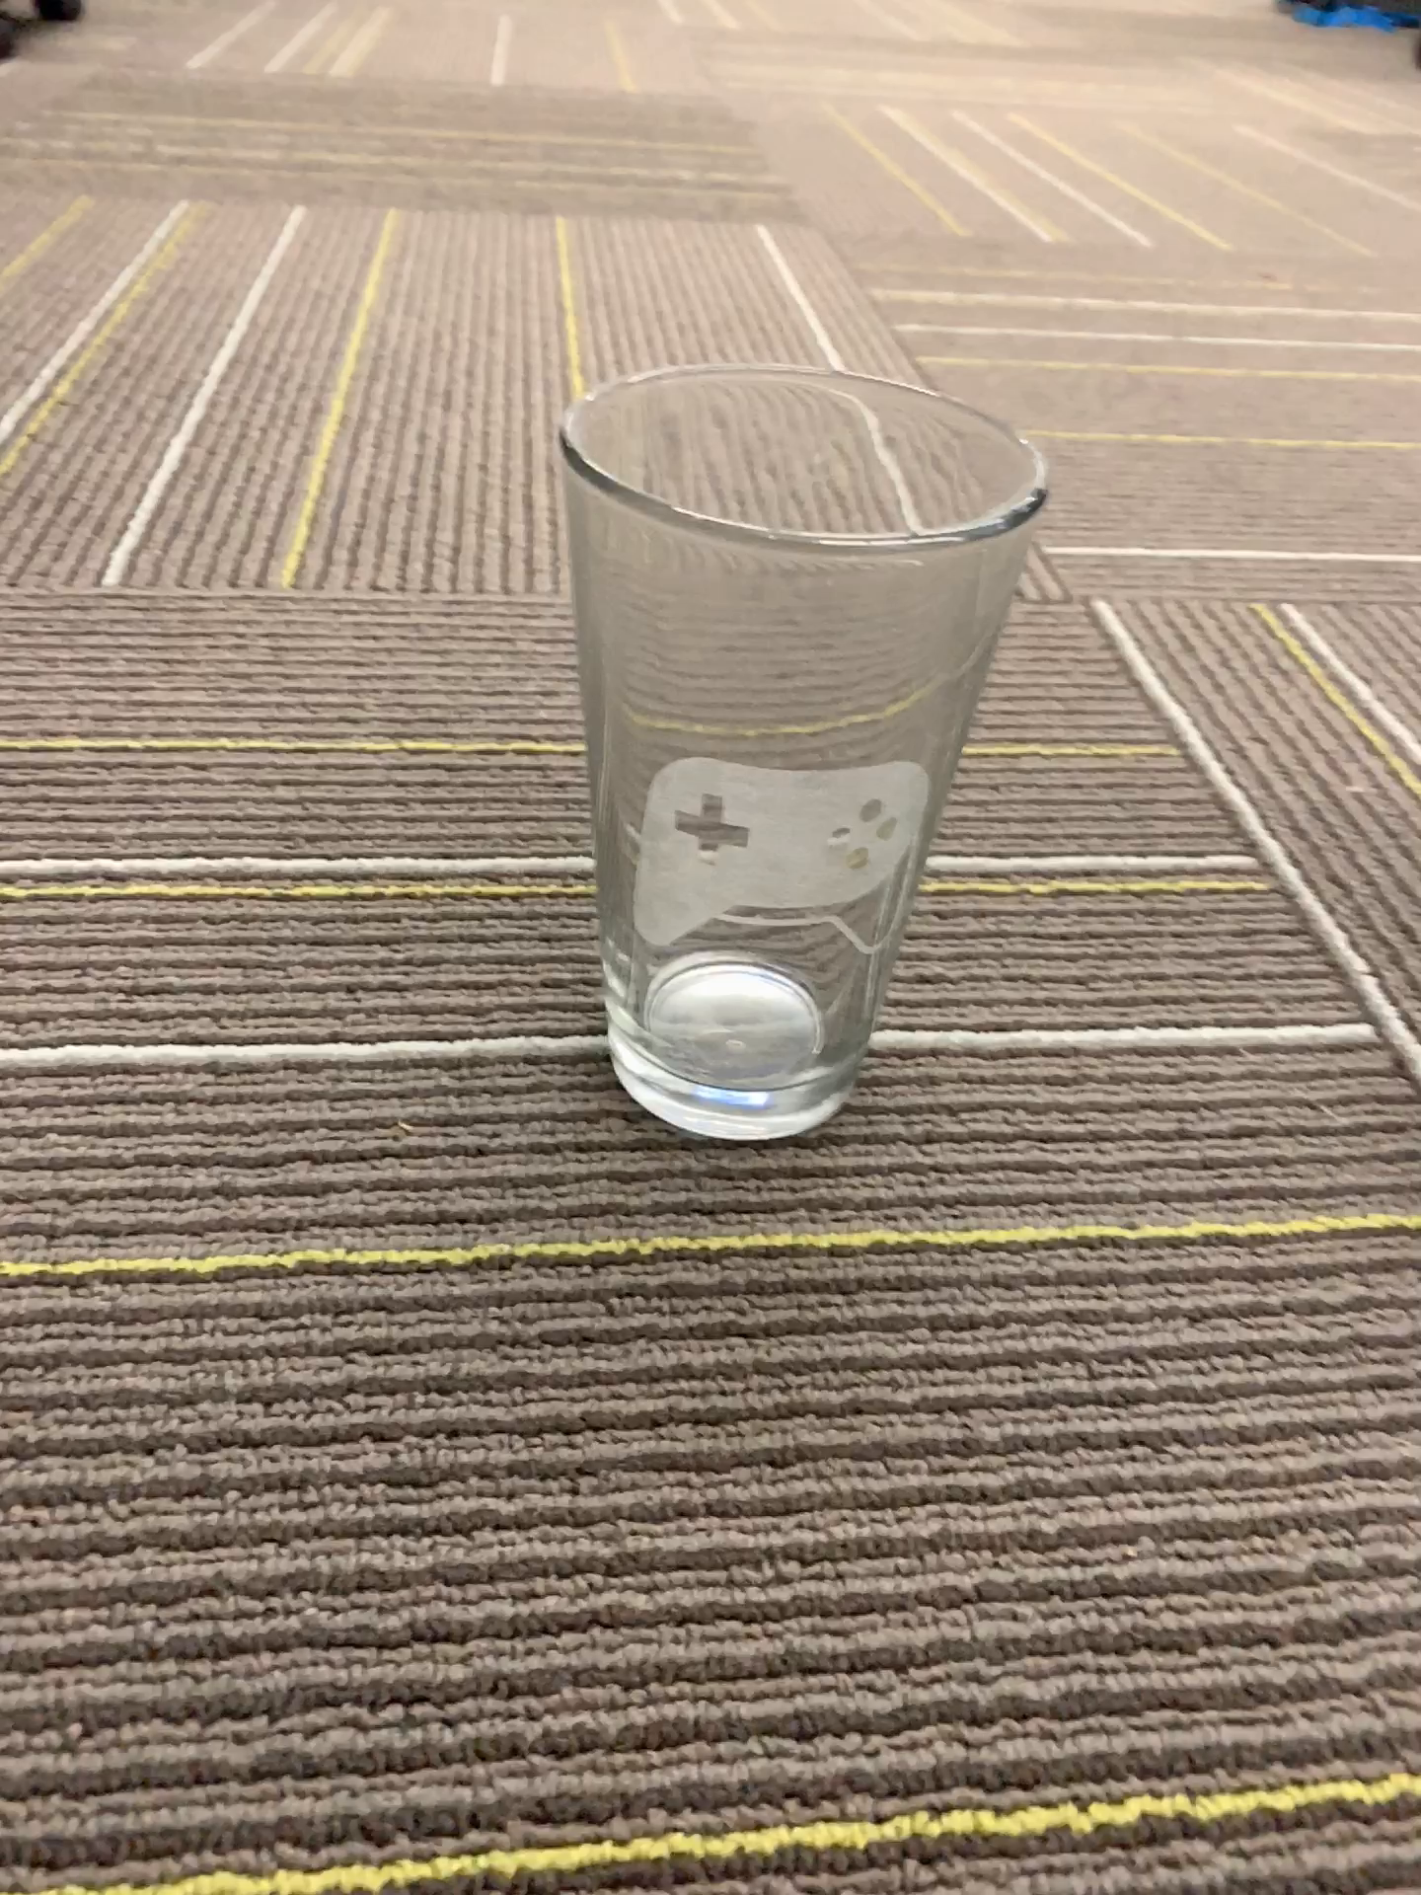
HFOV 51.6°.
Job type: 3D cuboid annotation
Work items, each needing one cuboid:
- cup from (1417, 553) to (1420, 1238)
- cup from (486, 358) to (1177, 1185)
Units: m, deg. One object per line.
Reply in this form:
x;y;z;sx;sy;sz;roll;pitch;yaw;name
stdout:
0.223;-0.010;0.318;0.070;0.119;0.080;3;37;-1;cup
0.011;-0.036;0.281;0.090;0.119;0.091;3;37;-2;cup
